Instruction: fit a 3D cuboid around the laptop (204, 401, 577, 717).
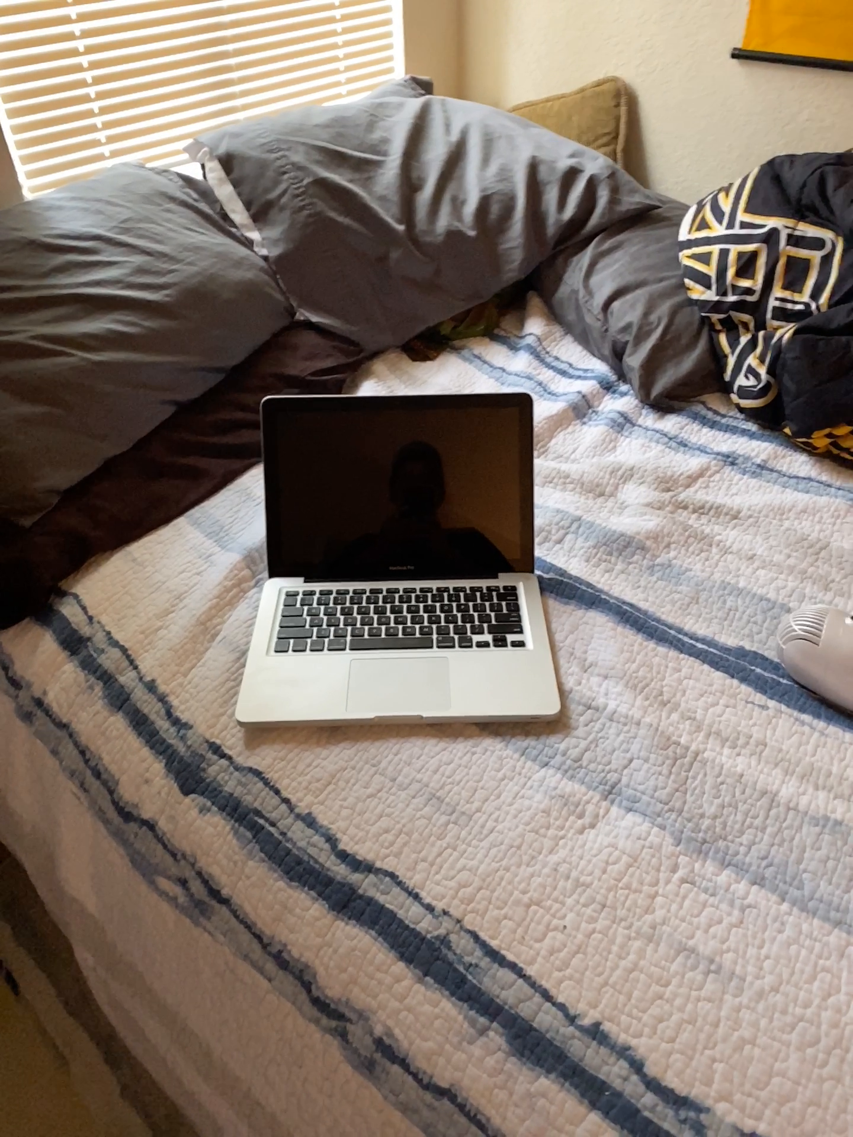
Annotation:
[{"bbox_3d":[-0.033,-0.025,0.934,0.319,0.169,0.348,-1,37,1],"label":"laptop"}]
